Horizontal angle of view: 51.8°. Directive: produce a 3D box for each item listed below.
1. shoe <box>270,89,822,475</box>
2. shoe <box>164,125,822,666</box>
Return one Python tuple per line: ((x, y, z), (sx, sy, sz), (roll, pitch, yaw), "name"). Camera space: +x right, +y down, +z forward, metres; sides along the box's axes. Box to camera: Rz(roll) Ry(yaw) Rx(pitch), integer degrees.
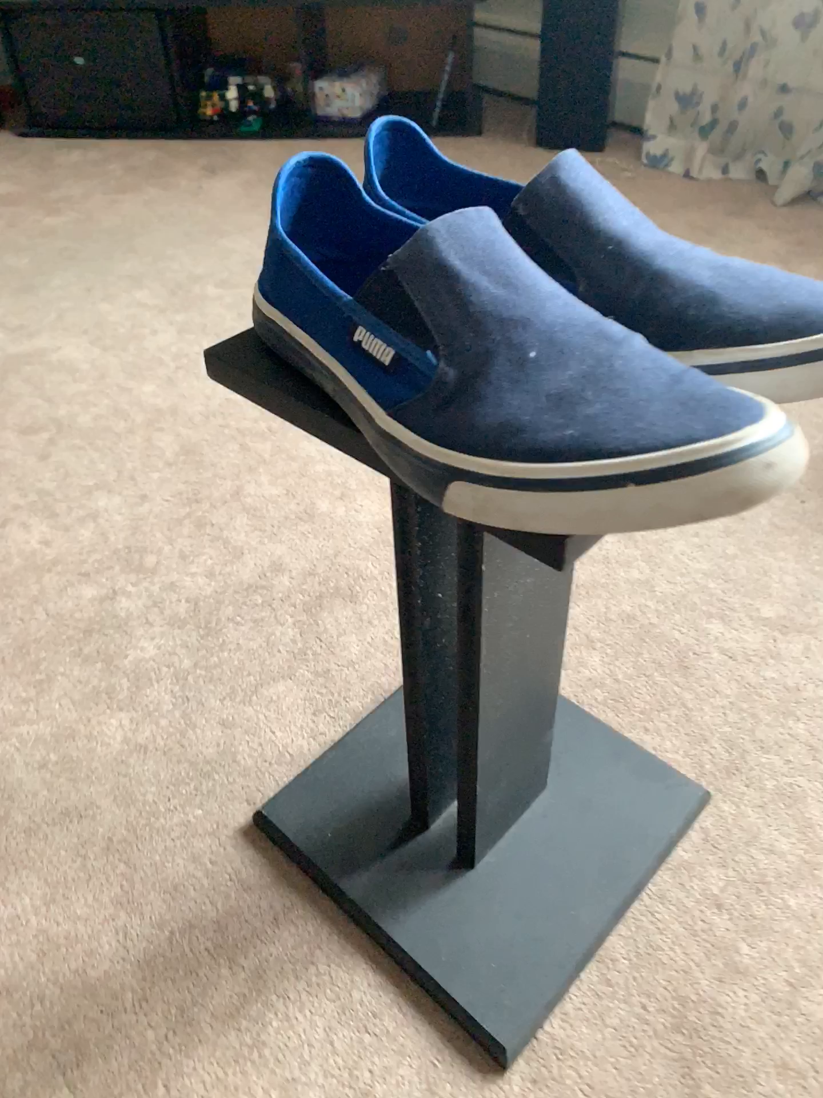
((0.083, -0.151, 0.418), (0.301, 0.079, 0.121), (27, 49, 29), "shoe")
((0.019, -0.096, 0.363), (0.120, 0.079, 0.302), (-26, 46, -25), "shoe")
